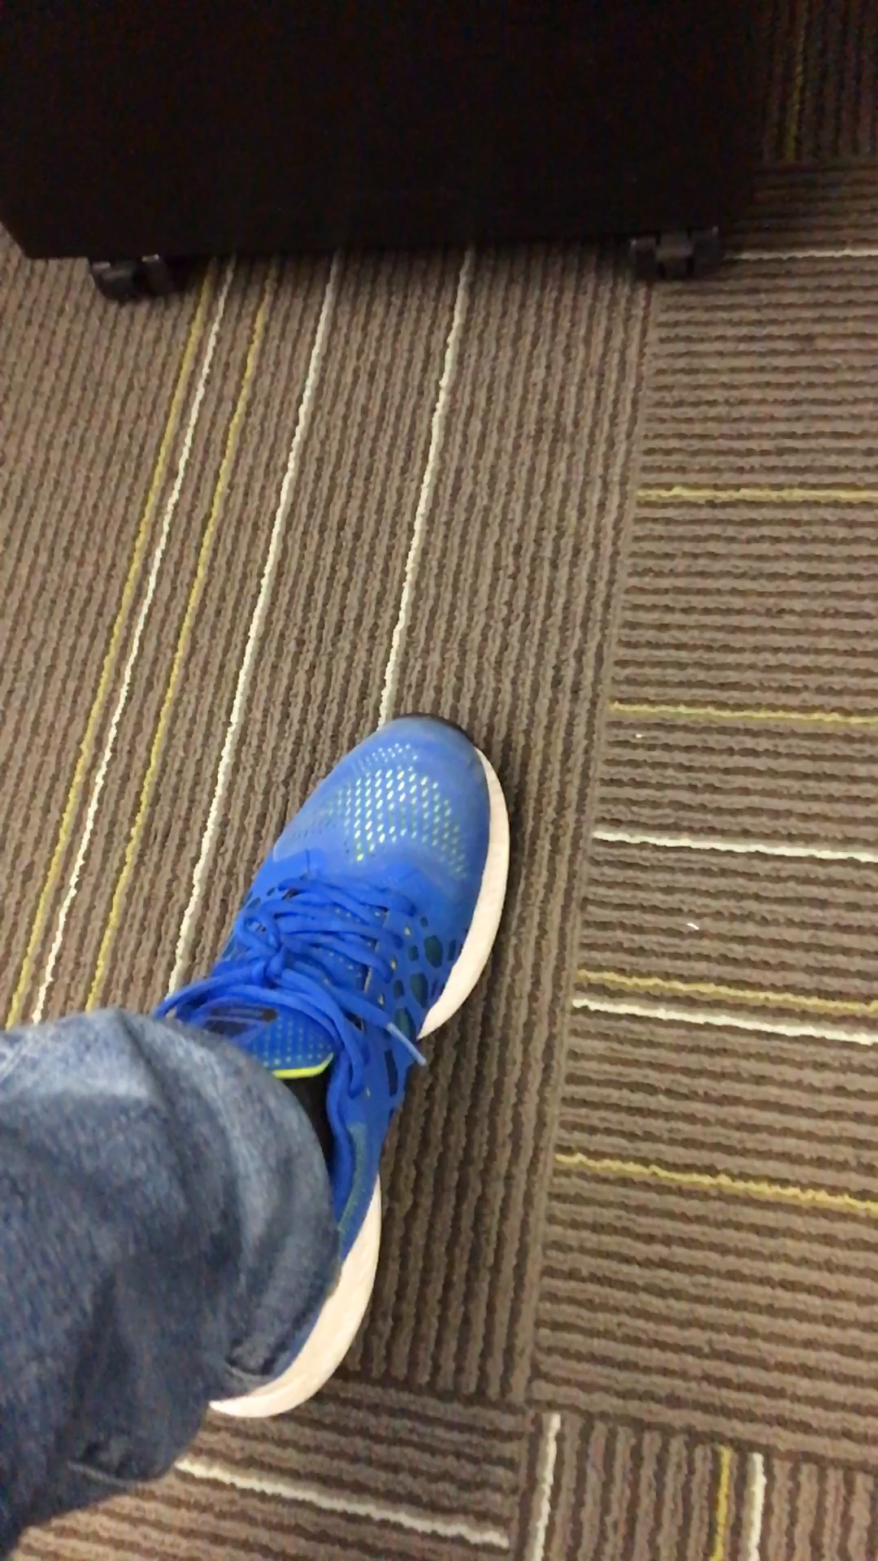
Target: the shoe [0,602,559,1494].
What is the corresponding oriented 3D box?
[{"bbox_3d":[-0.056,0.092,0.501,0.120,0.110,0.290,12,69,17],"label":"shoe"}]
